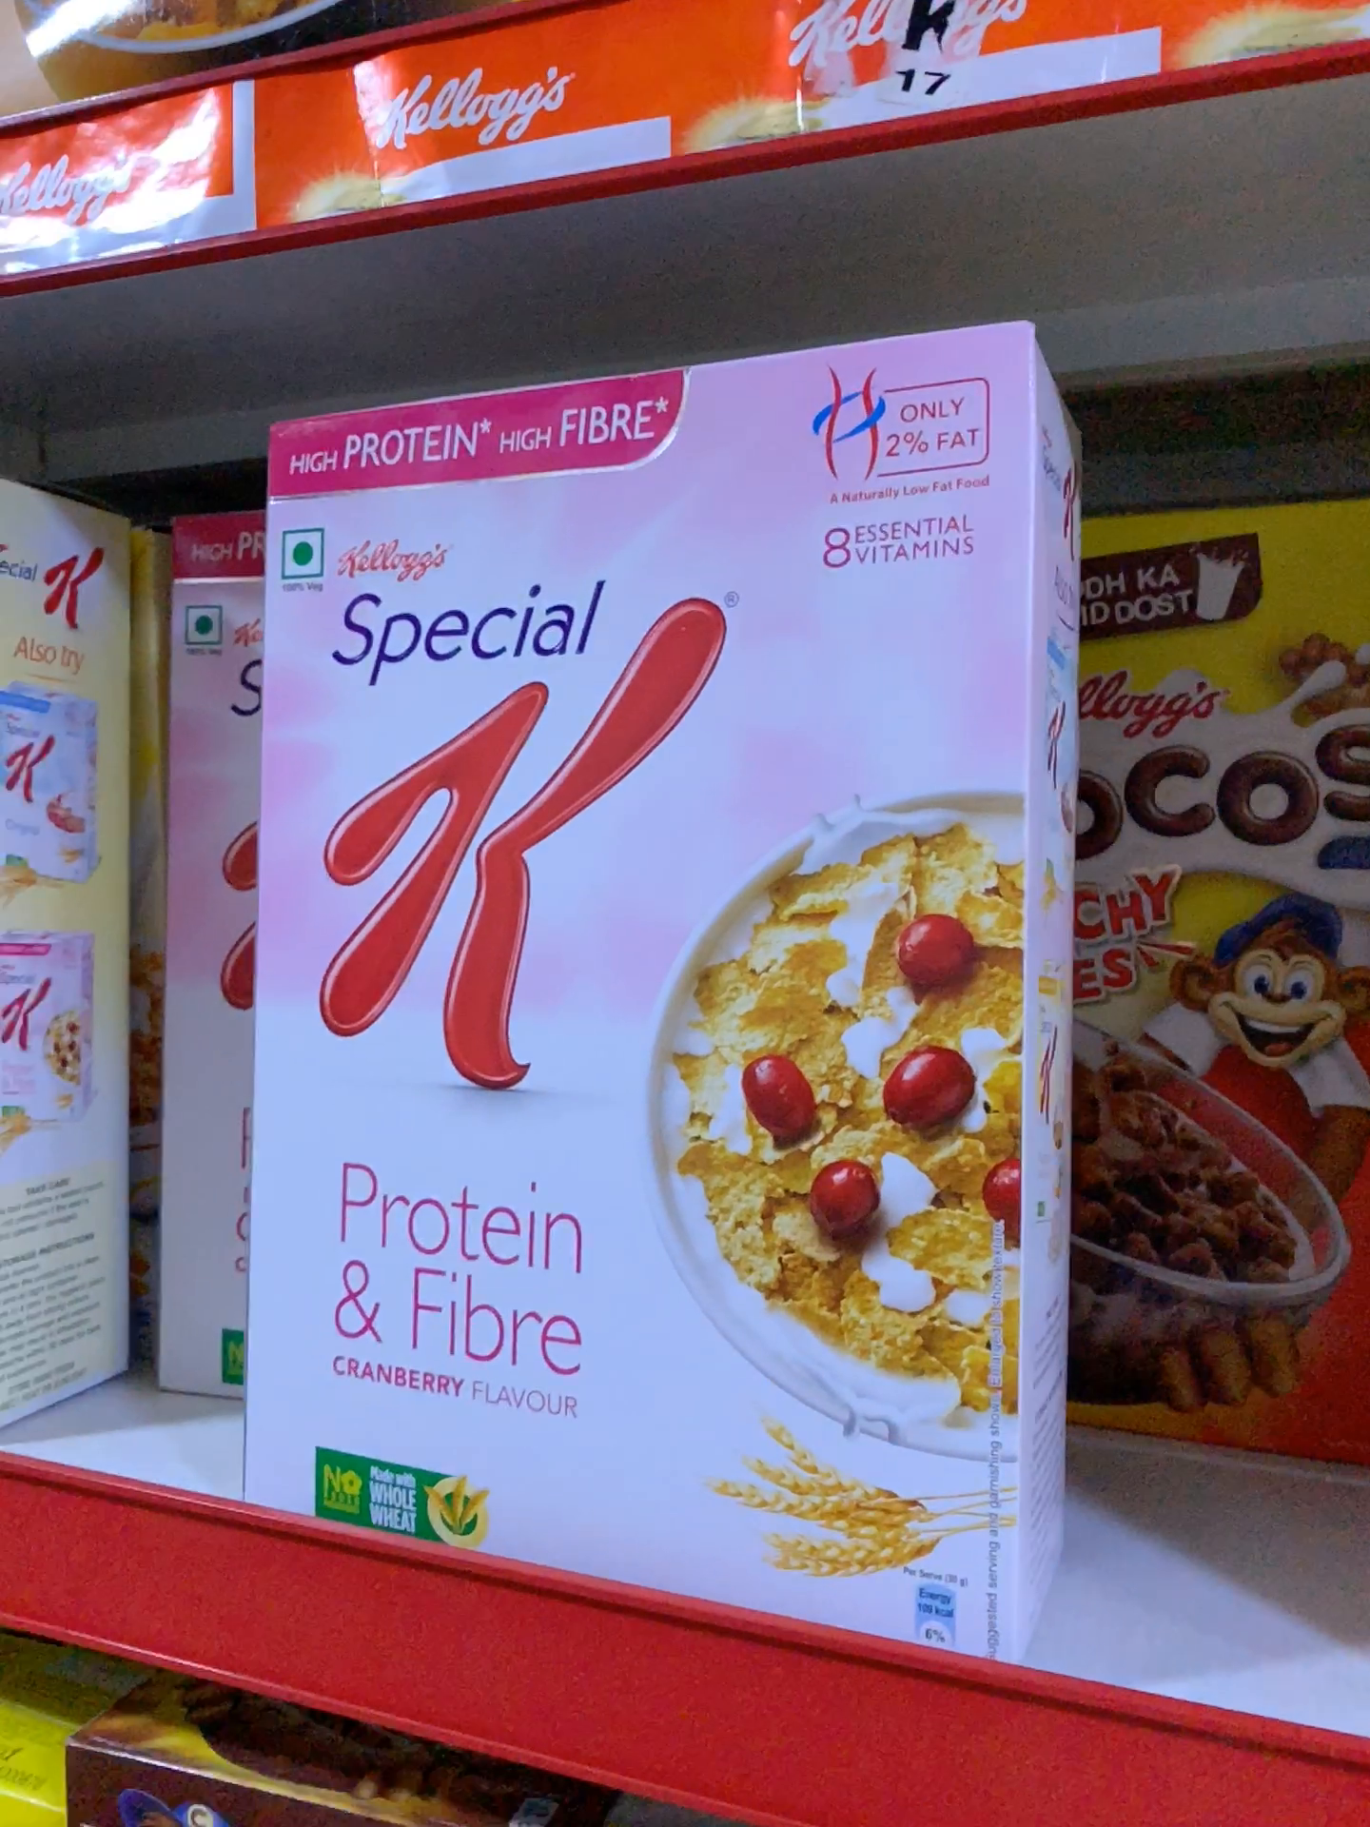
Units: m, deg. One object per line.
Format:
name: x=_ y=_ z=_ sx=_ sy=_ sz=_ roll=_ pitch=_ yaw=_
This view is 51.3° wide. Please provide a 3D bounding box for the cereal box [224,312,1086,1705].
cereal box: x=-0.008 y=0.014 z=0.306 sx=0.170 sy=0.240 sz=0.060 roll=1 pitch=0 yaw=22
